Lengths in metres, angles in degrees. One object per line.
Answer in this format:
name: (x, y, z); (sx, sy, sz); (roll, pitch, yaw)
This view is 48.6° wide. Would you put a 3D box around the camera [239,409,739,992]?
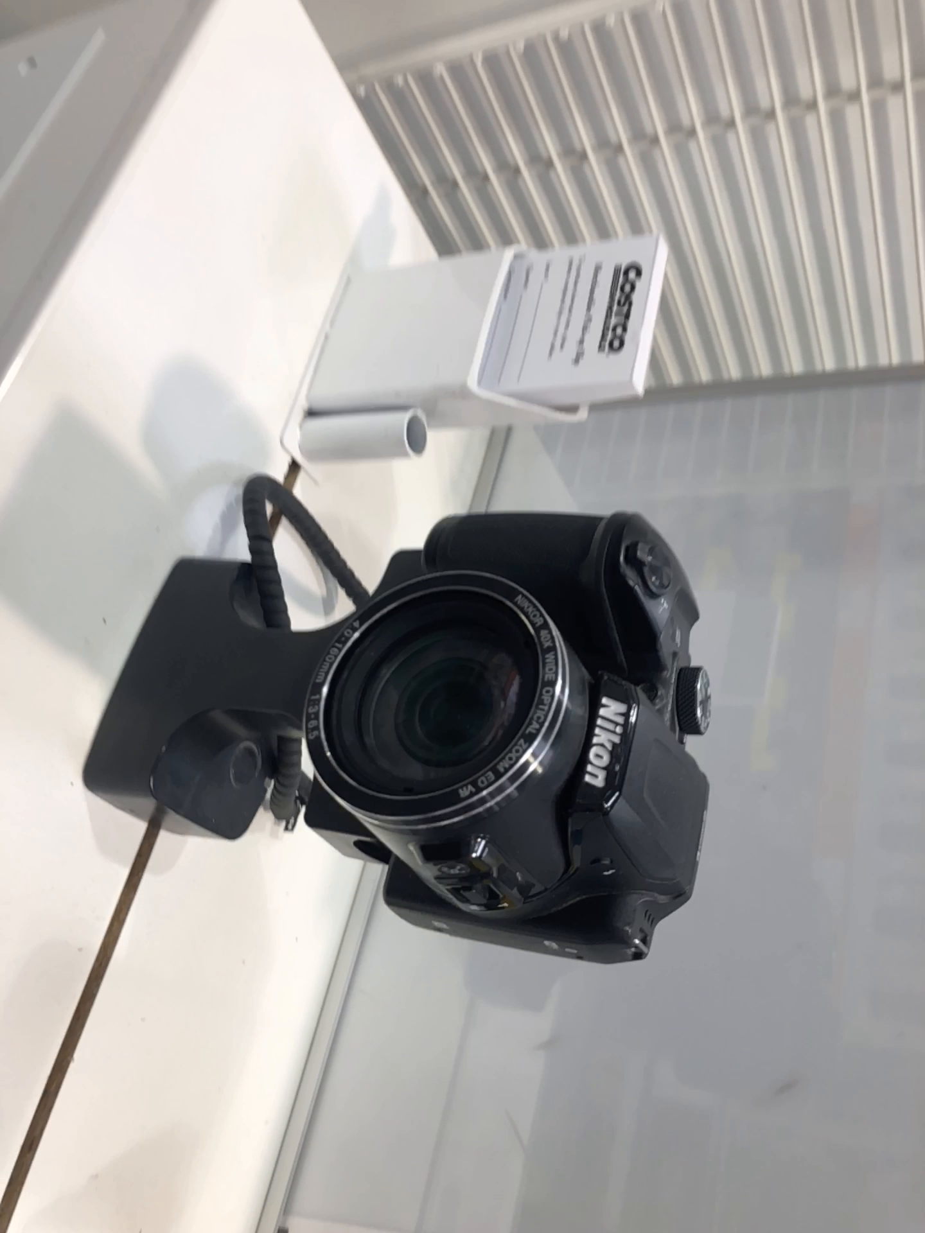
camera: (0.018, 0.025, 0.275); (0.101, 0.079, 0.116); (50, 48, -53)
